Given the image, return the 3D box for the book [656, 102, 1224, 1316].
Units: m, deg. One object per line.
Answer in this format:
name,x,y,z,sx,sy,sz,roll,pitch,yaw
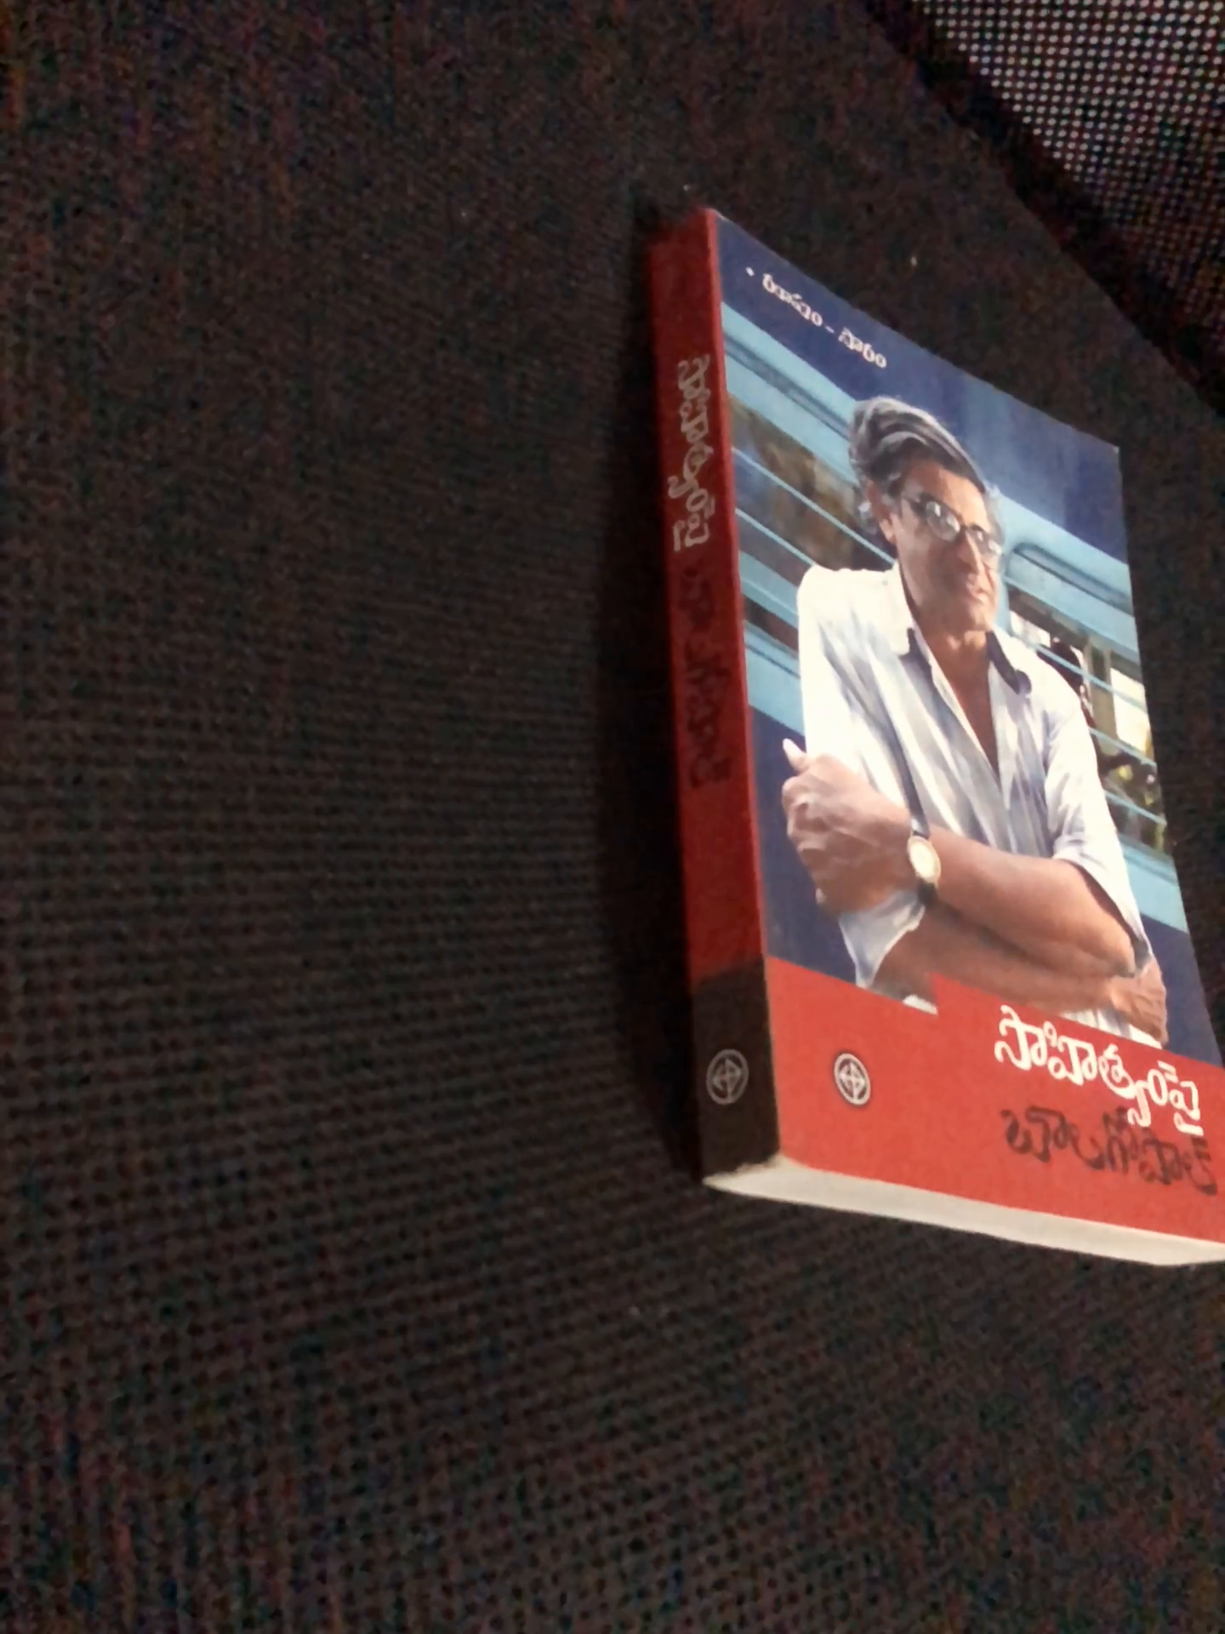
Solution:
book,0.081,-0.022,0.282,0.153,0.030,0.225,19,57,-33
